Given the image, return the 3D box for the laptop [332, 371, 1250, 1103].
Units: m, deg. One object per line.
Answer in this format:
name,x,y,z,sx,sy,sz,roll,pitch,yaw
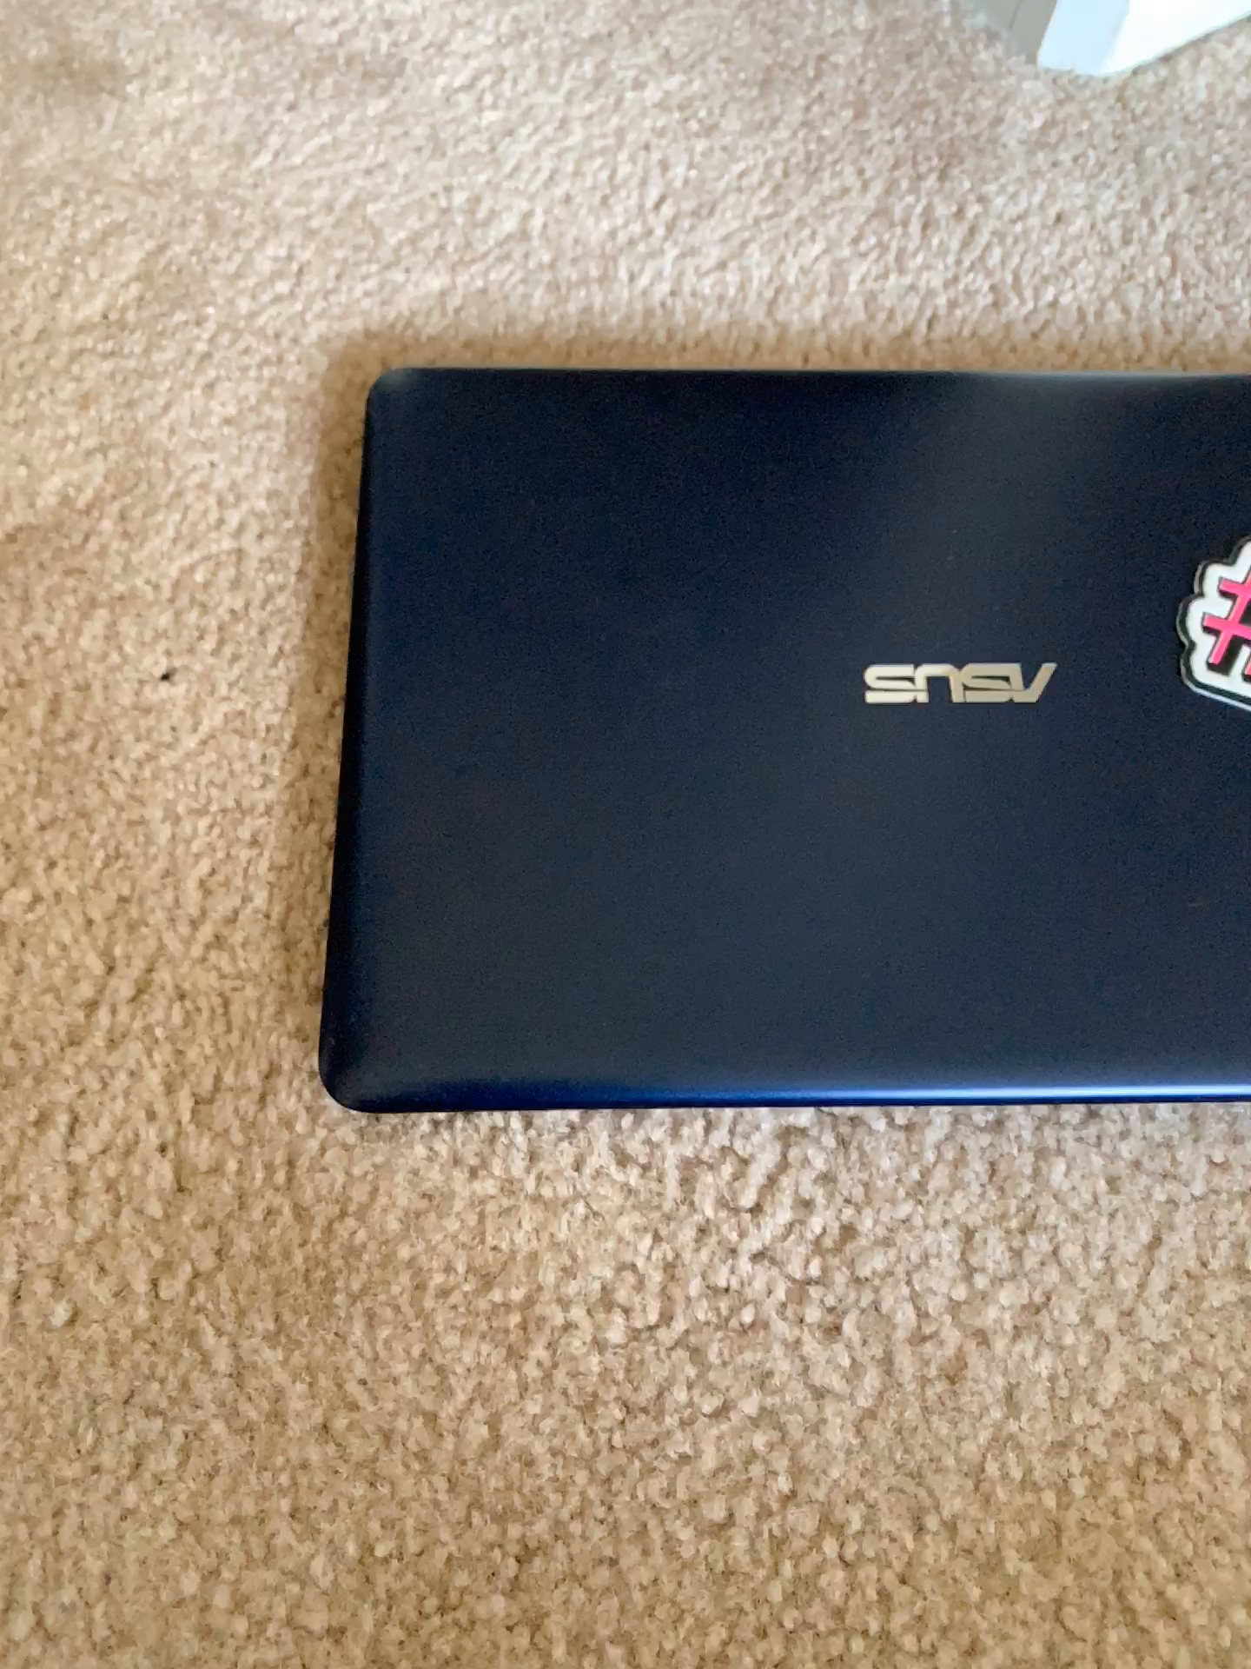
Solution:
laptop,0.074,-0.031,0.303,0.271,0.006,0.182,0,69,-2
